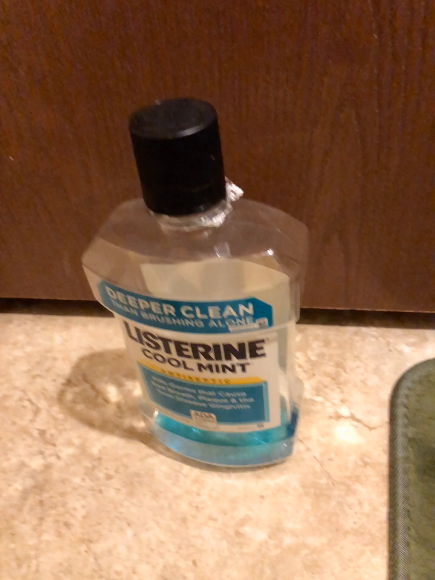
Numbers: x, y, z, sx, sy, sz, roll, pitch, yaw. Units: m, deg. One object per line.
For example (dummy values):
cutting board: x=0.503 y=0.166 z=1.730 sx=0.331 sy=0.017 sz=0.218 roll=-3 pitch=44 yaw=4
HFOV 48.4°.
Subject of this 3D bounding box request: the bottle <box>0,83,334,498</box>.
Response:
bottle: x=-0.012 y=0.013 z=0.272 sx=0.130 sy=0.220 sz=0.090 roll=6 pitch=45 yaw=15
